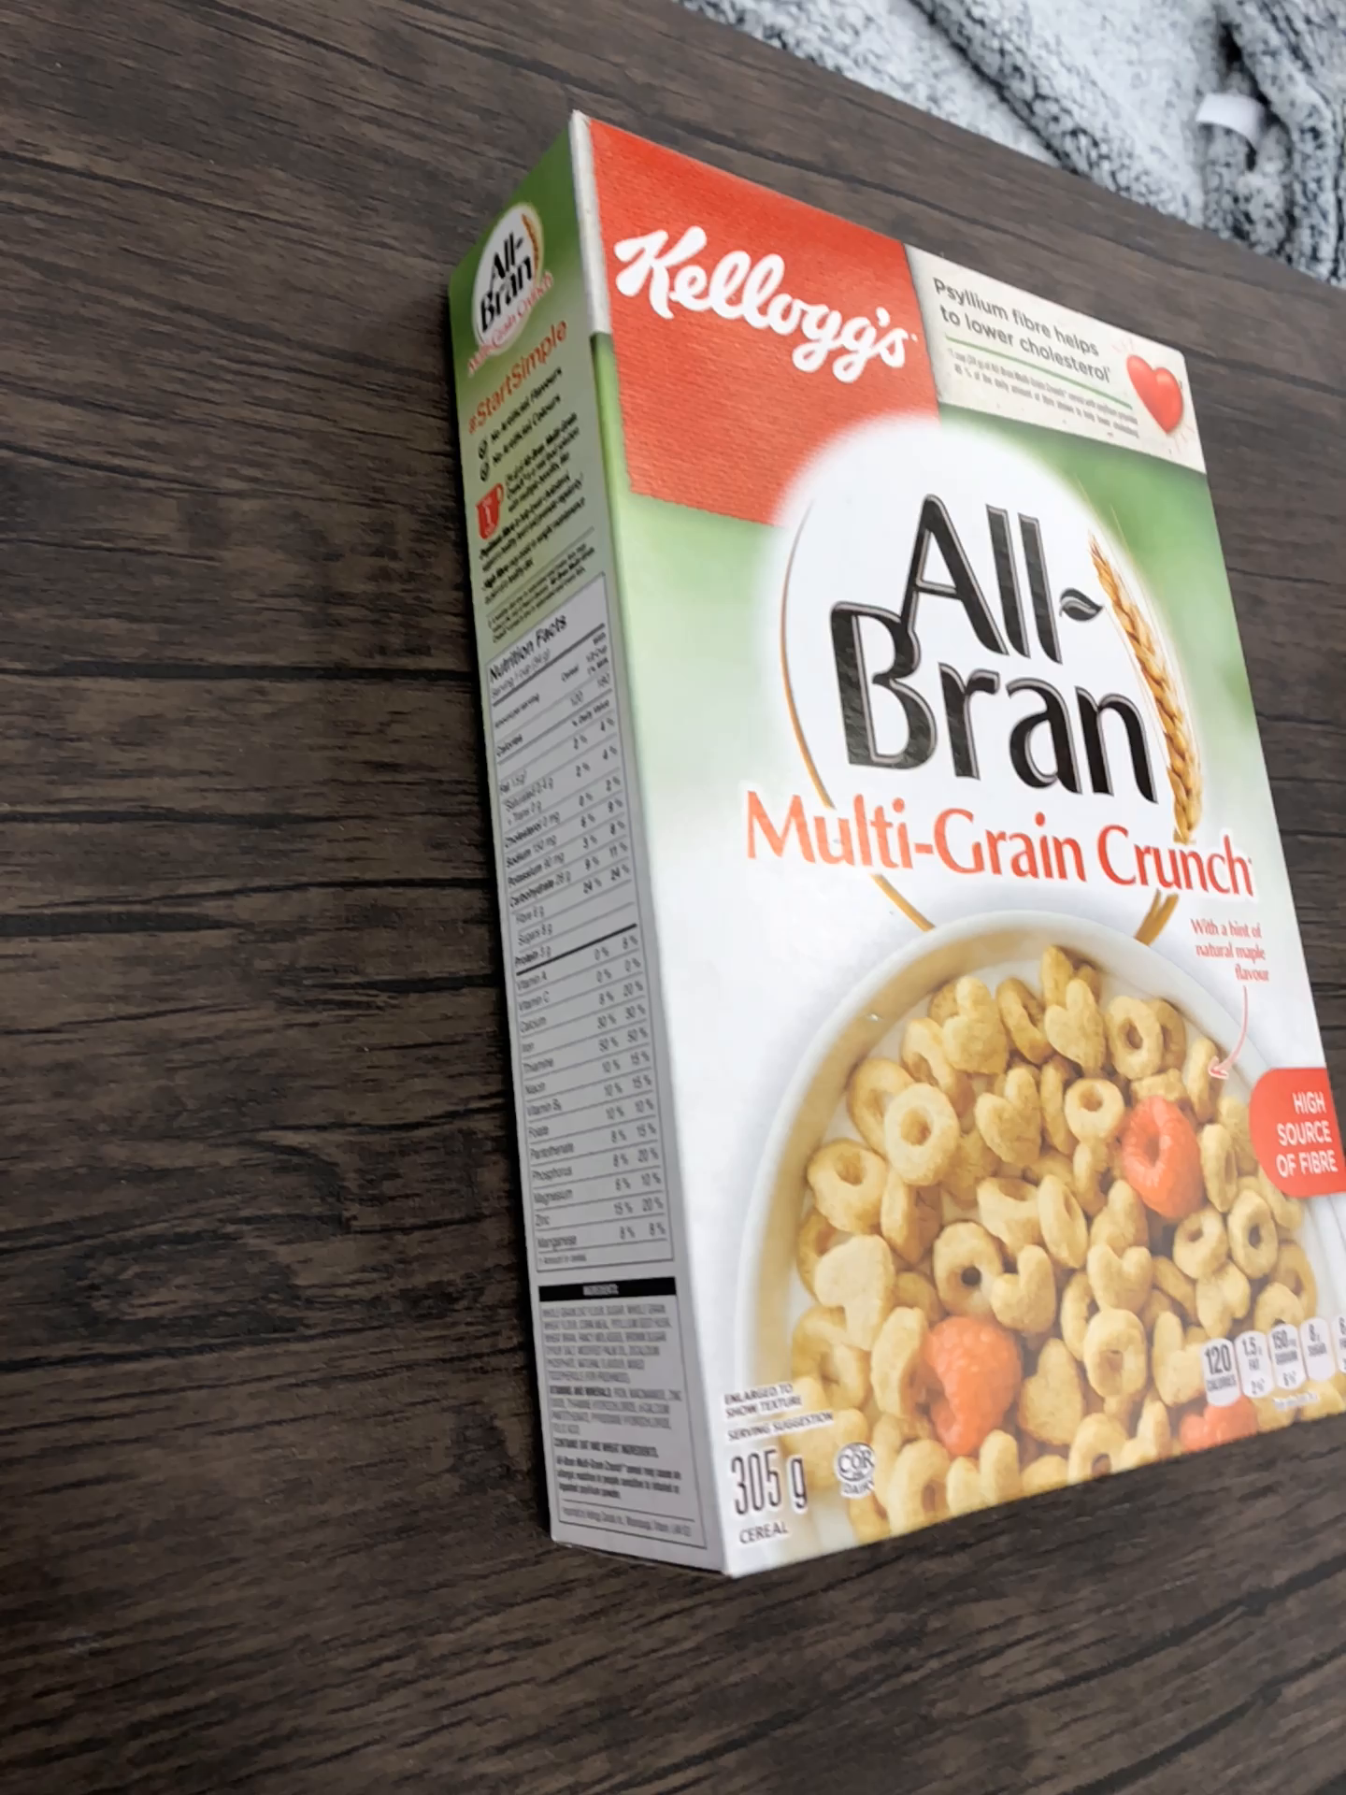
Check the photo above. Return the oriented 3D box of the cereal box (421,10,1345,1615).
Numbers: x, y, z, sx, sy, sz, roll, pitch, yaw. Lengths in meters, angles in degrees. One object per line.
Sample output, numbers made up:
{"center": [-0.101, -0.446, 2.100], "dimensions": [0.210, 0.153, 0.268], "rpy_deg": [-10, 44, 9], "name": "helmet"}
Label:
{"center": [0.064, -0.021, 0.351], "dimensions": [0.211, 0.070, 0.300], "rpy_deg": [3, 72, -35], "name": "cereal box"}
